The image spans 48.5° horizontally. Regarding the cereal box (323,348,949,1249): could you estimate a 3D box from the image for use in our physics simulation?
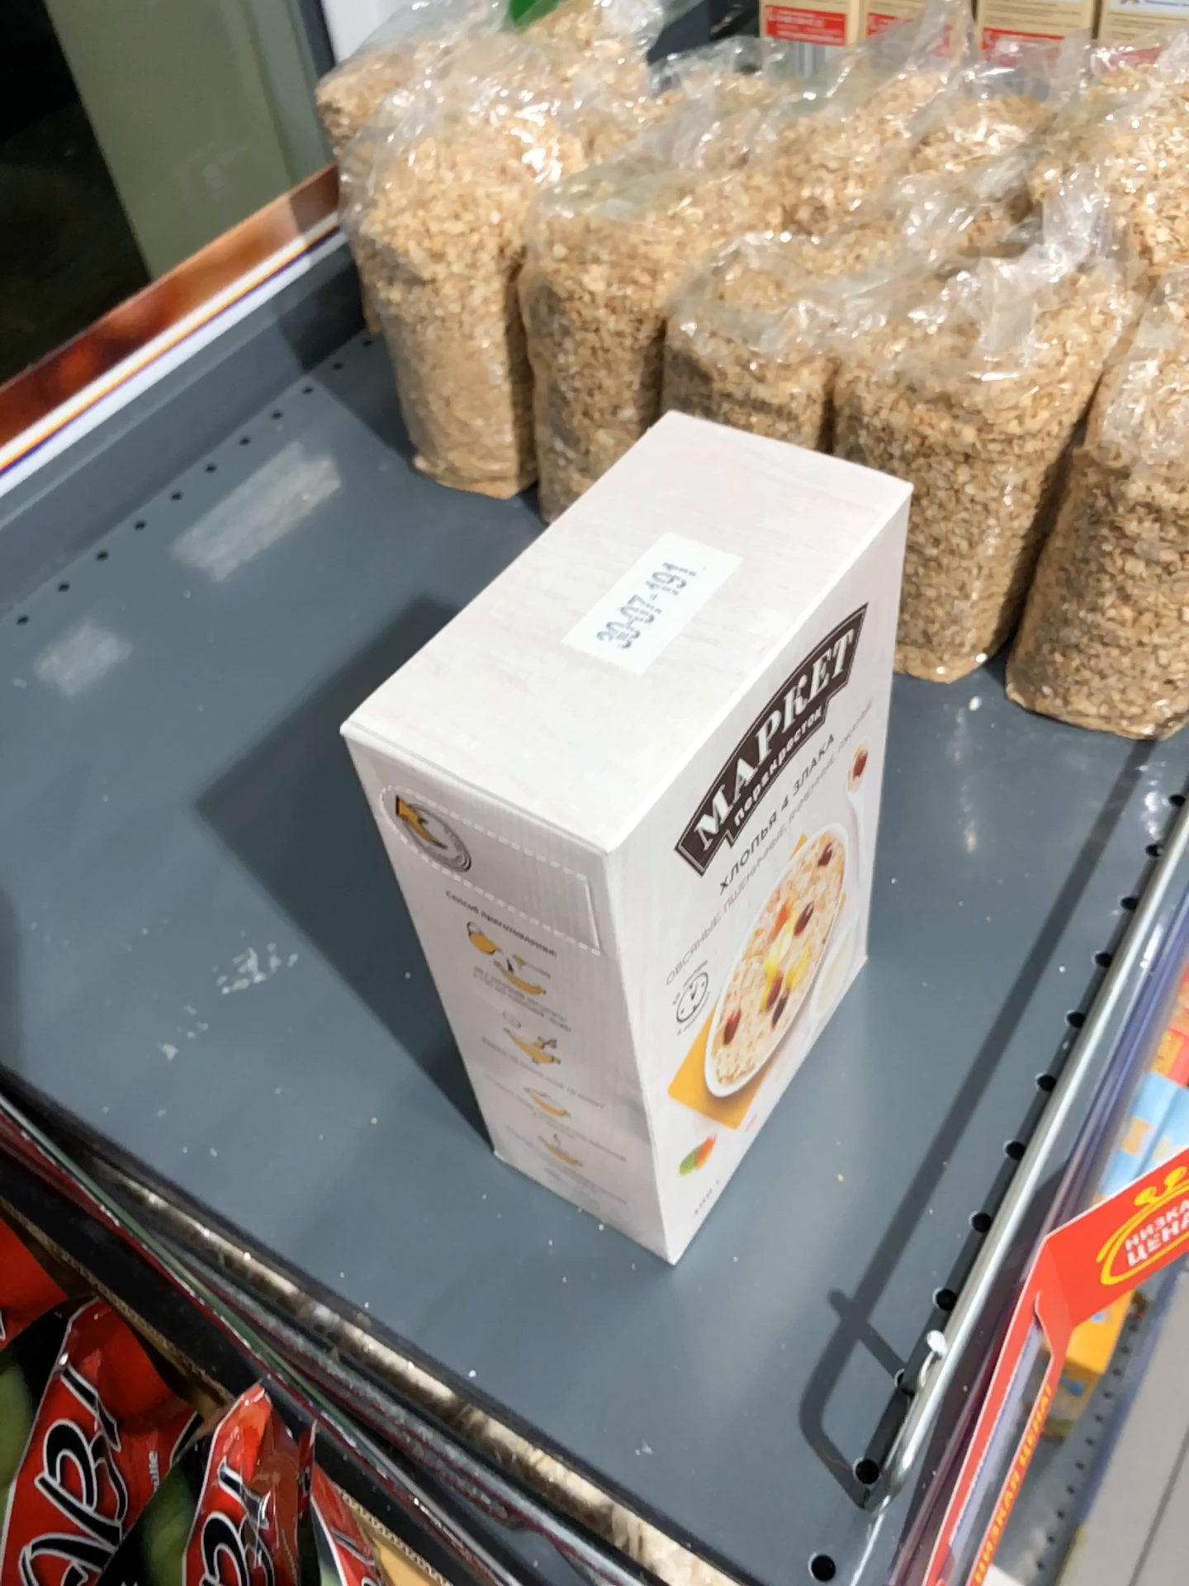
[{"bbox_3d":[0.023,0.009,0.345,0.070,0.189,0.130,24,57,26],"label":"cereal box"}]
